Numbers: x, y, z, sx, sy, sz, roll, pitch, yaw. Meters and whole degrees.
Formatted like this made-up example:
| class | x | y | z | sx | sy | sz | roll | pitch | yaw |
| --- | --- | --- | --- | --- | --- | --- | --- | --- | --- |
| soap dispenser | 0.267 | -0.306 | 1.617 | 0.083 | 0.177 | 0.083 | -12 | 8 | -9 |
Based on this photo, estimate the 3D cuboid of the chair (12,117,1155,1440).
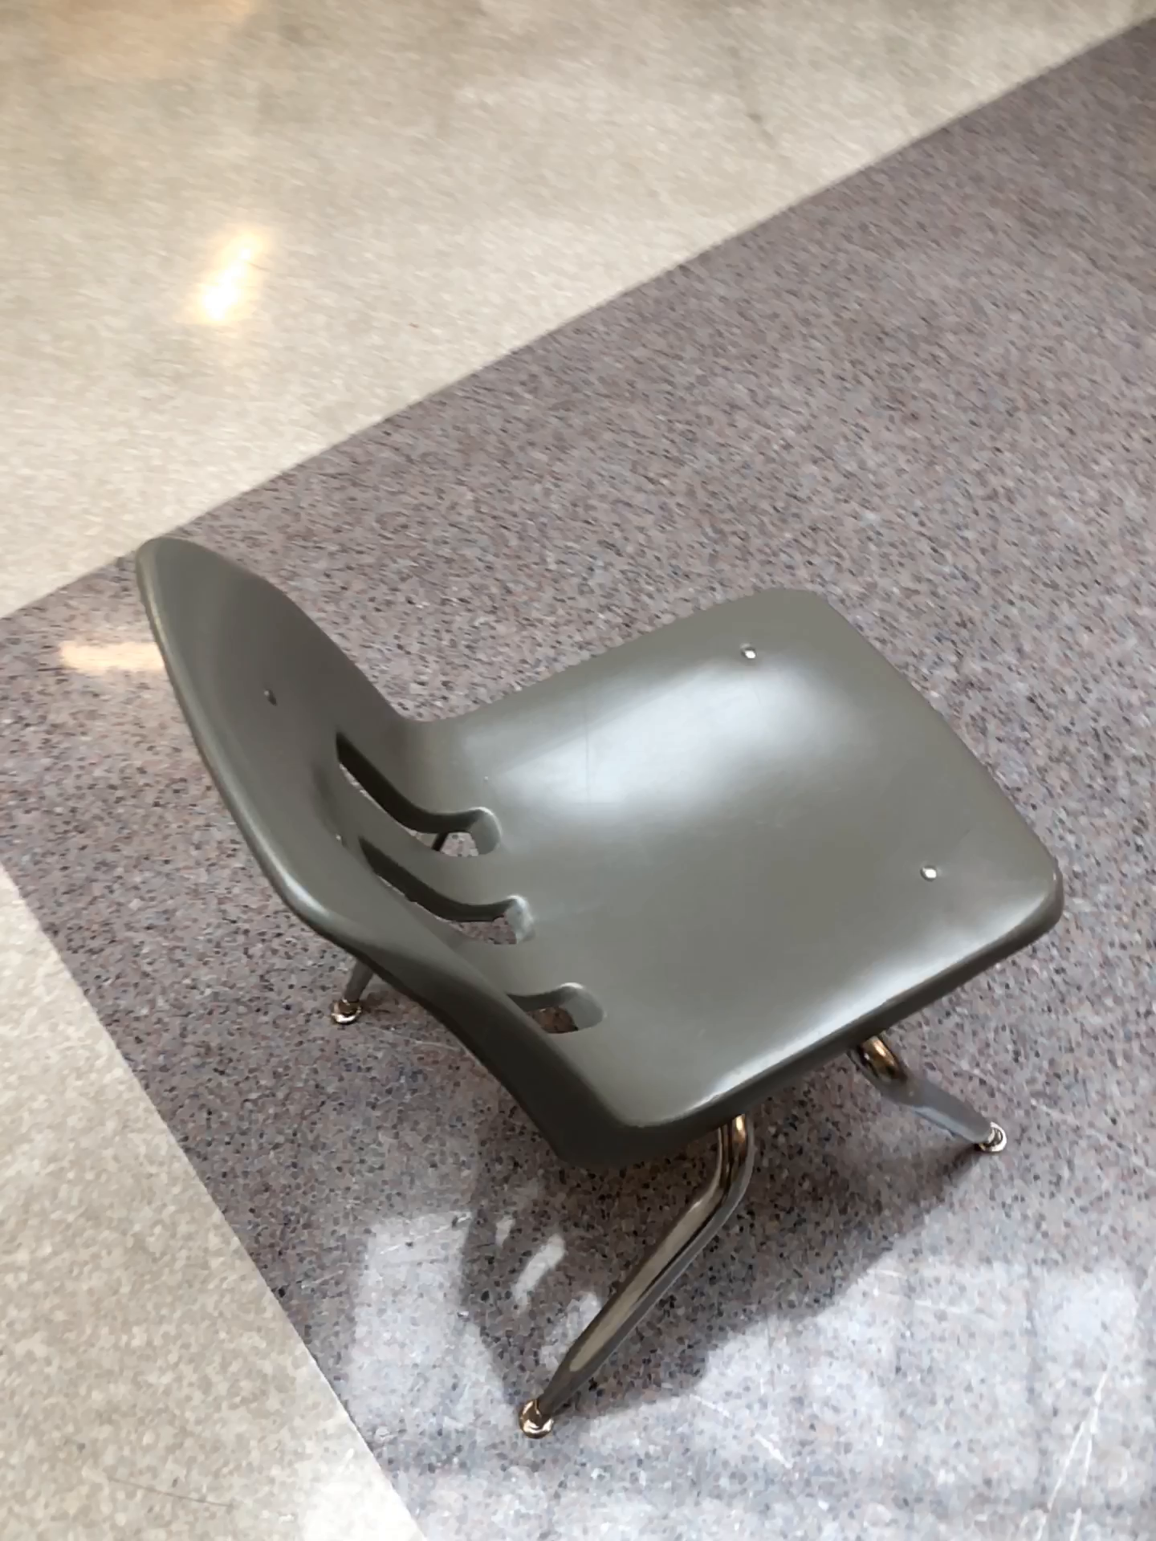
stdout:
| class | x | y | z | sx | sy | sz | roll | pitch | yaw |
| --- | --- | --- | --- | --- | --- | --- | --- | --- | --- |
| chair | 0.052 | 0.043 | 0.920 | 0.550 | 0.666 | 0.512 | -24 | 57 | -14 |
